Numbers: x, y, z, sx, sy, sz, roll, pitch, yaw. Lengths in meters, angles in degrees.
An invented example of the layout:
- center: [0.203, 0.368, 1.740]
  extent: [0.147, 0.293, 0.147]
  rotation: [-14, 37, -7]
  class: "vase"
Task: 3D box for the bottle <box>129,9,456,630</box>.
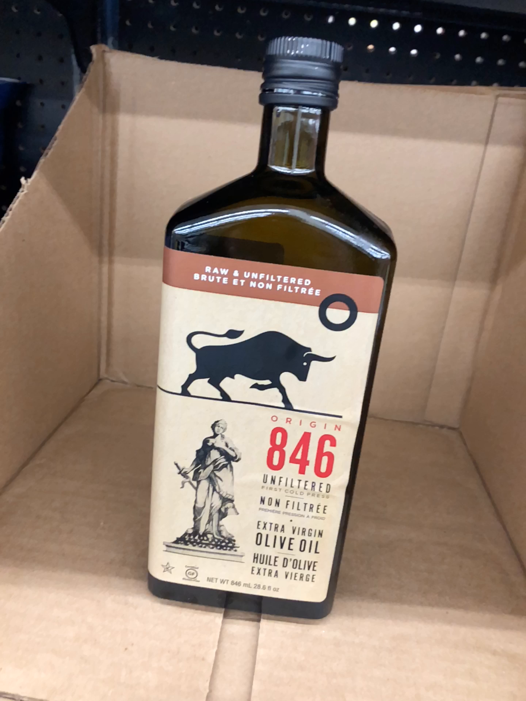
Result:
- center: [0.001, 0.000, 0.260]
  extent: [0.100, 0.248, 0.060]
  rotation: [7, 21, 1]
  class: "bottle"
